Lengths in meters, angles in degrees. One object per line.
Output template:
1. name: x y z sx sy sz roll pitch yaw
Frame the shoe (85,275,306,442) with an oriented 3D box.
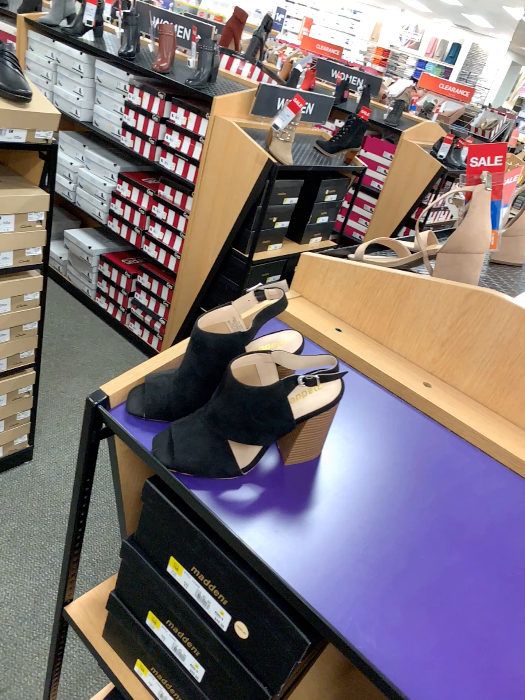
1. shoe: -0.070 0.010 0.626 0.220 0.139 0.080 -10 33 -2

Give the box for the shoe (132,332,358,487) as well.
1. shoe: -0.020 0.061 0.575 0.220 0.109 0.080 -7 34 -9
